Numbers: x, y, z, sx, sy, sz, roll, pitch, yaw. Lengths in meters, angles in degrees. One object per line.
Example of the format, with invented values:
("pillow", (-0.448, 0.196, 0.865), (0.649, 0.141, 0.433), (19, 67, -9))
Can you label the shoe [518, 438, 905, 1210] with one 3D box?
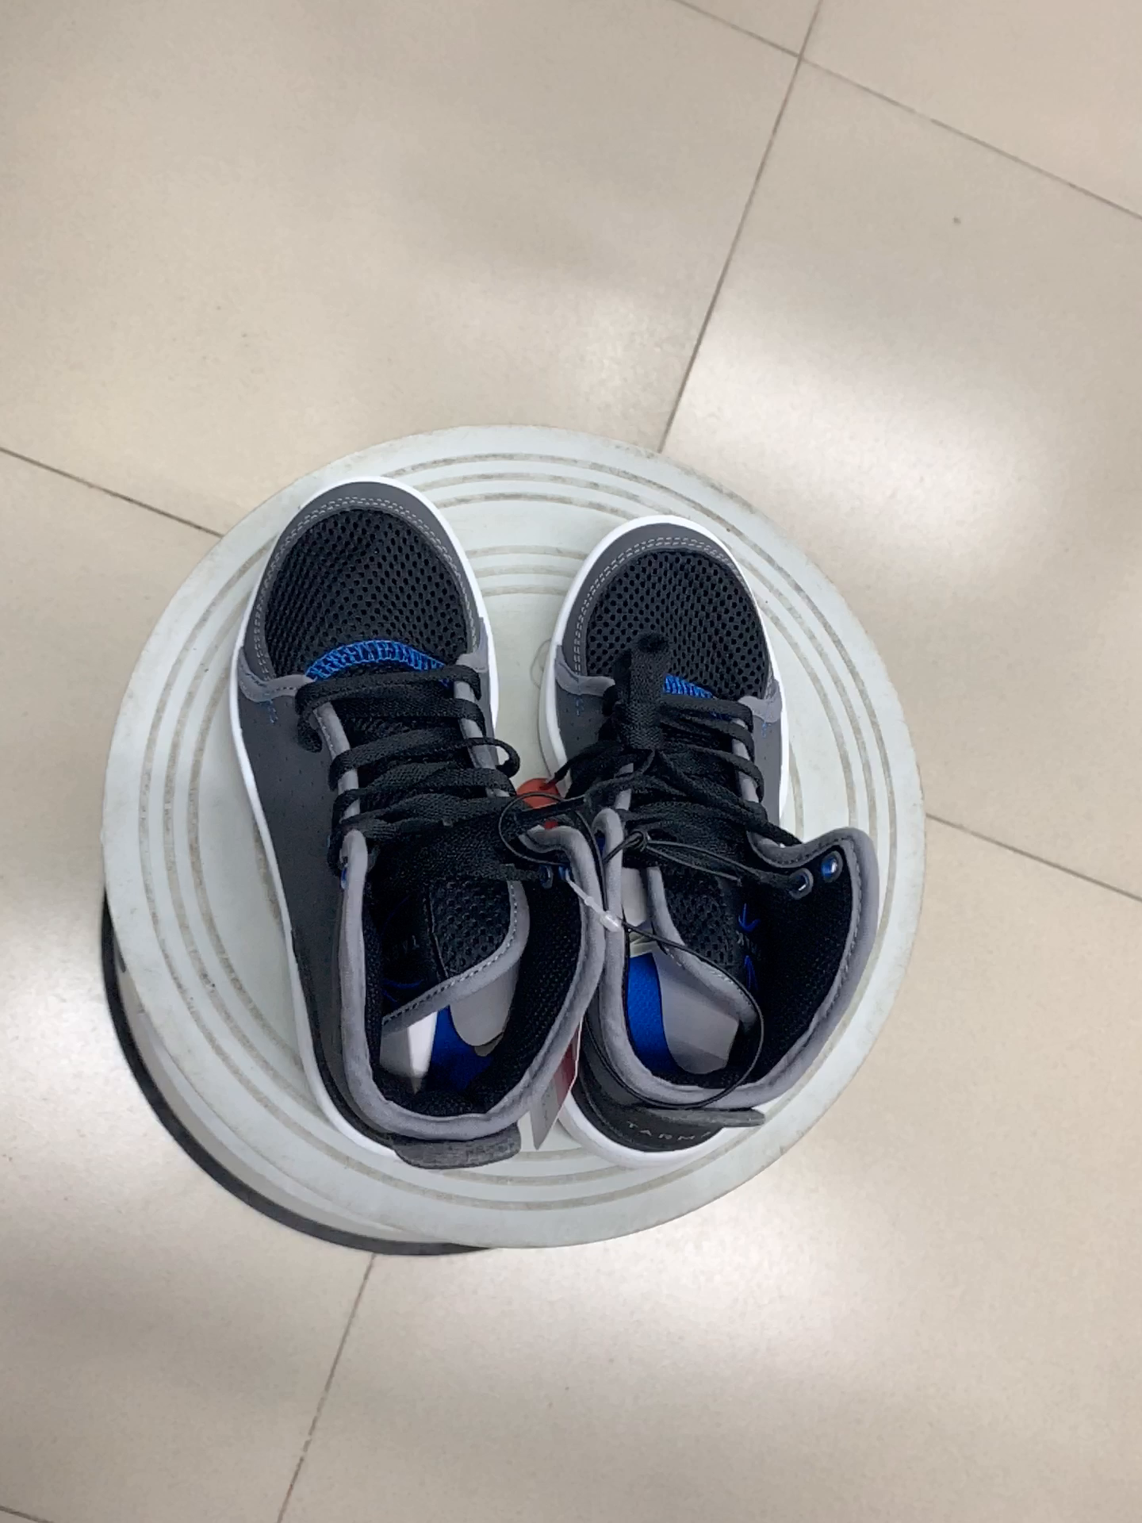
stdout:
("shoe", (0.035, 0.024, 0.364), (0.080, 0.120, 0.200), (4, 77, -10))

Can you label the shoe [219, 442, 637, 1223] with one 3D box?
("shoe", (-0.049, 0.020, 0.357), (0.090, 0.100, 0.200), (-5, 79, -12))
